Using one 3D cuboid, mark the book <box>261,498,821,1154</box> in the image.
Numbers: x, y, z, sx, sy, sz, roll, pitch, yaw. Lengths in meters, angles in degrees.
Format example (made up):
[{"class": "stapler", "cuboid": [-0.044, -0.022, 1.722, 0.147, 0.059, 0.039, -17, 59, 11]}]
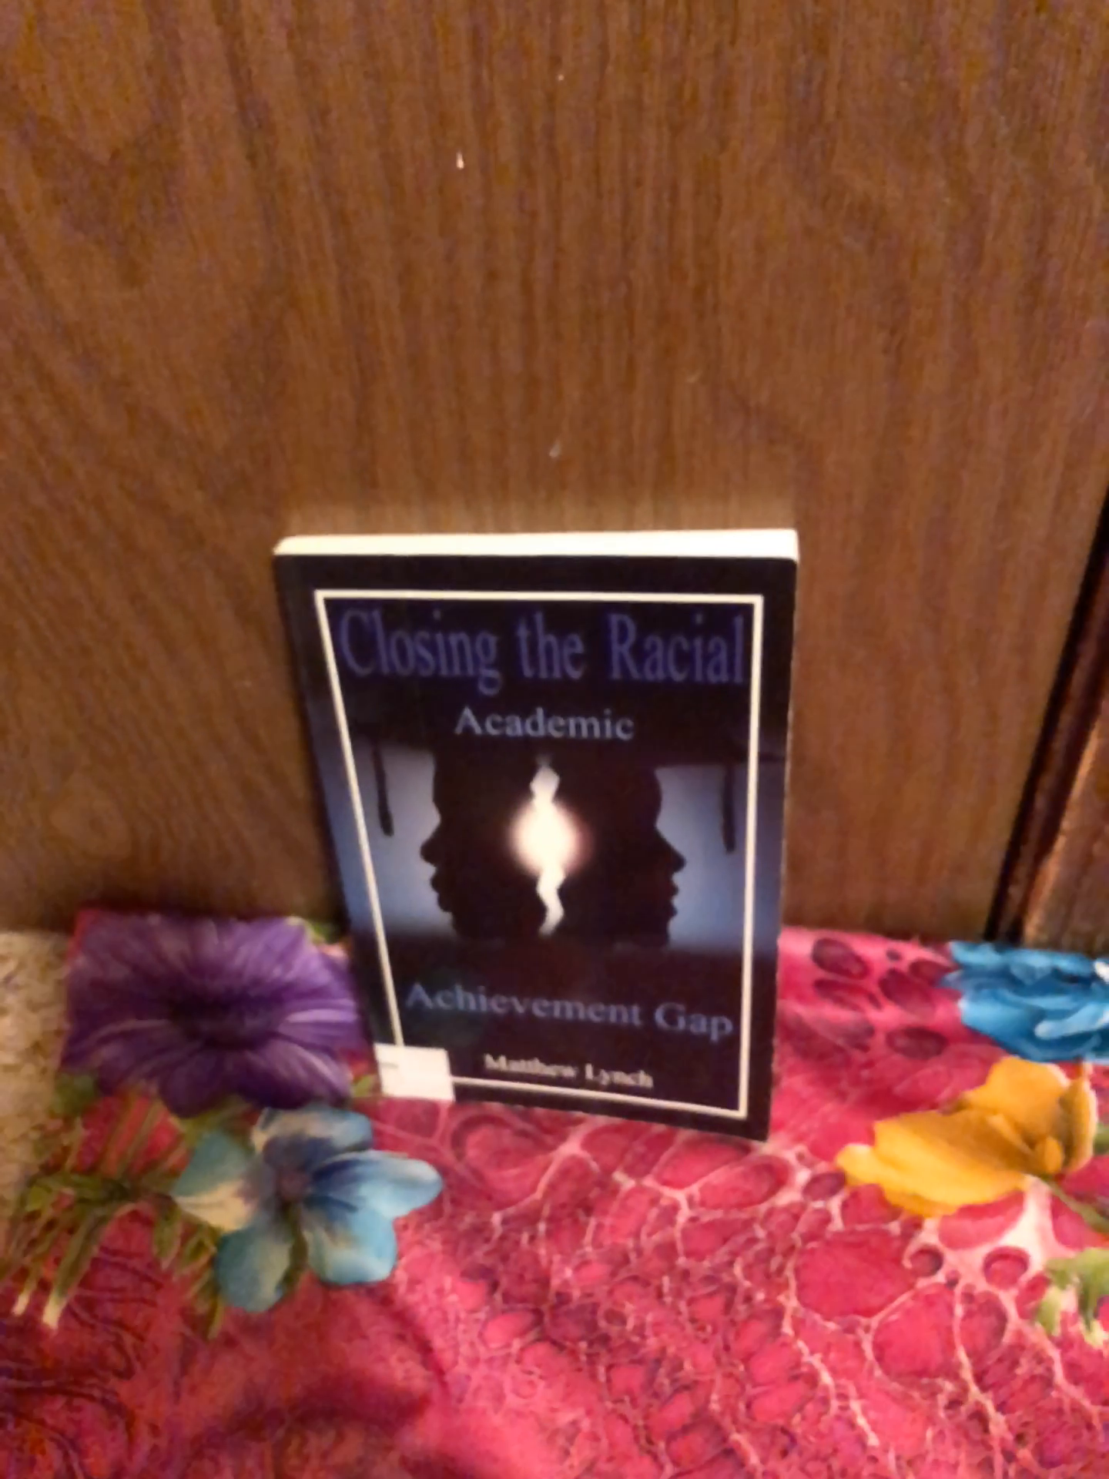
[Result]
[{"class": "book", "cuboid": [0.004, 0.038, 0.398, 0.146, 0.230, 0.036, 3, 35, 10]}]
